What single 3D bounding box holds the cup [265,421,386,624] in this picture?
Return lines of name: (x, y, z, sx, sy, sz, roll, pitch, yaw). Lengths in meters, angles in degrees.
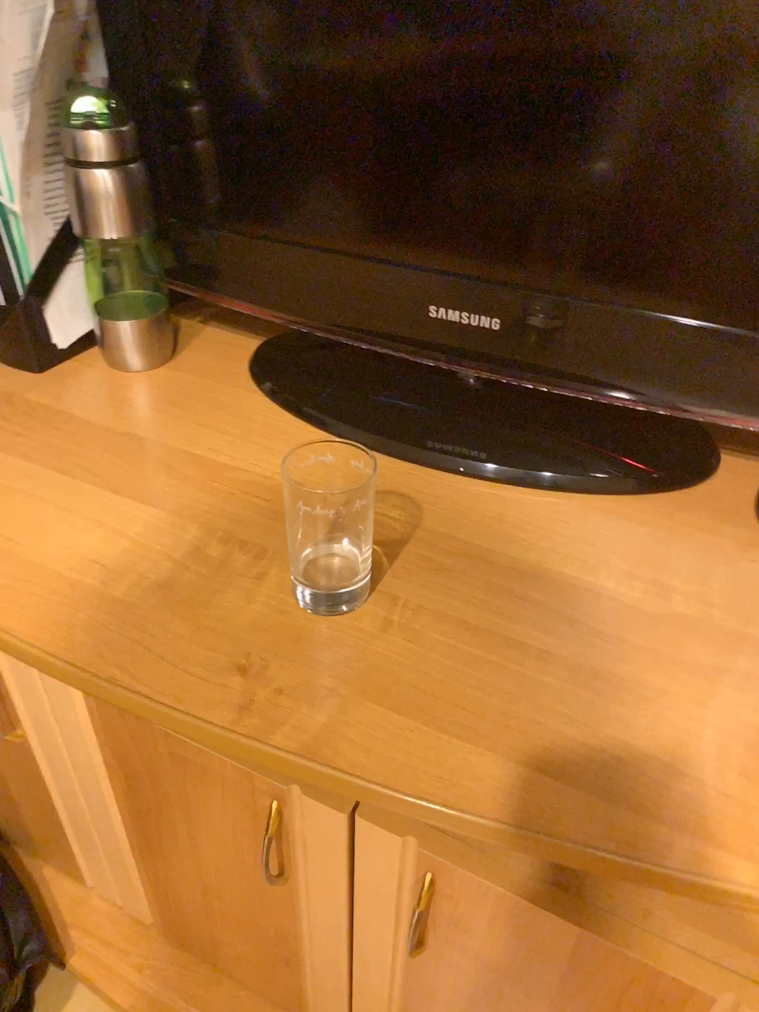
cup: (-0.033, 0.010, 0.466, 0.060, 0.099, 0.061, 1, 36, 0)
